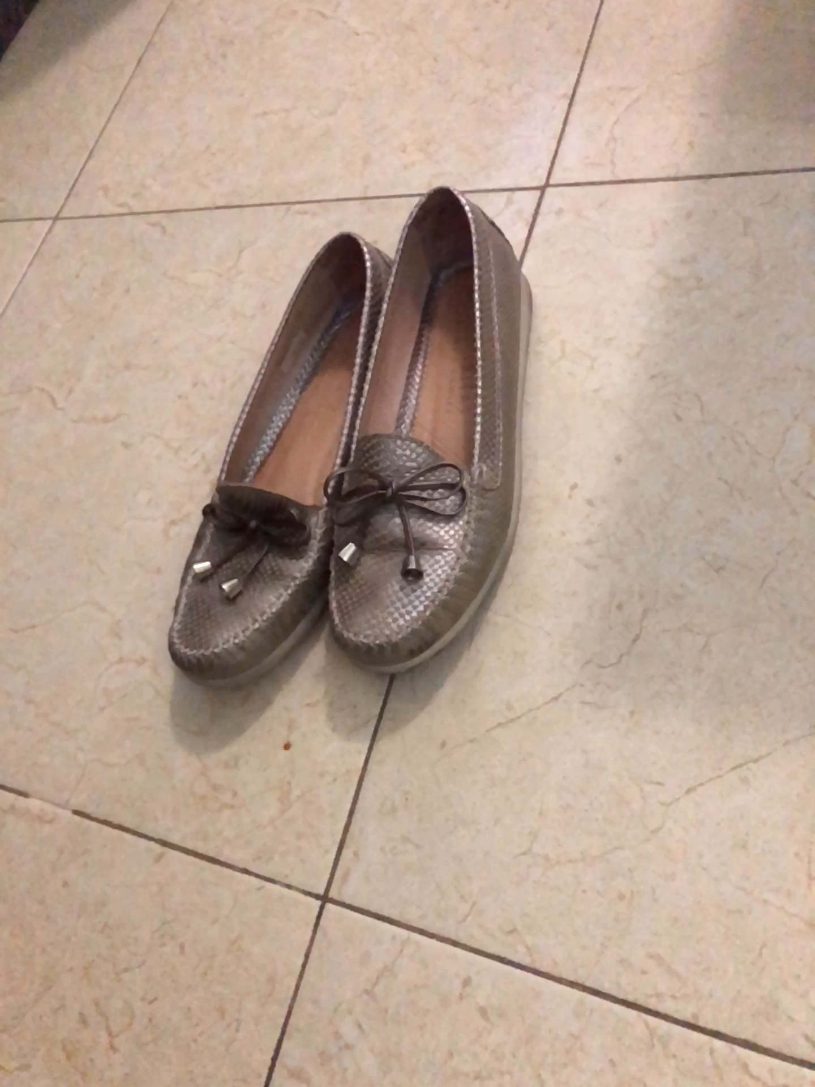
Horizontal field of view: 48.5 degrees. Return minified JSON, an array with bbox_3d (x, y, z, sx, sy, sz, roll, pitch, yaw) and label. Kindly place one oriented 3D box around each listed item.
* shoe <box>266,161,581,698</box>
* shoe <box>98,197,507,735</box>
[{"bbox_3d":[0.020,-0.064,0.479,0.100,0.080,0.270,0,64,24],"label":"shoe"},{"bbox_3d":[-0.049,-0.056,0.524,0.100,0.080,0.300,13,70,29],"label":"shoe"}]
